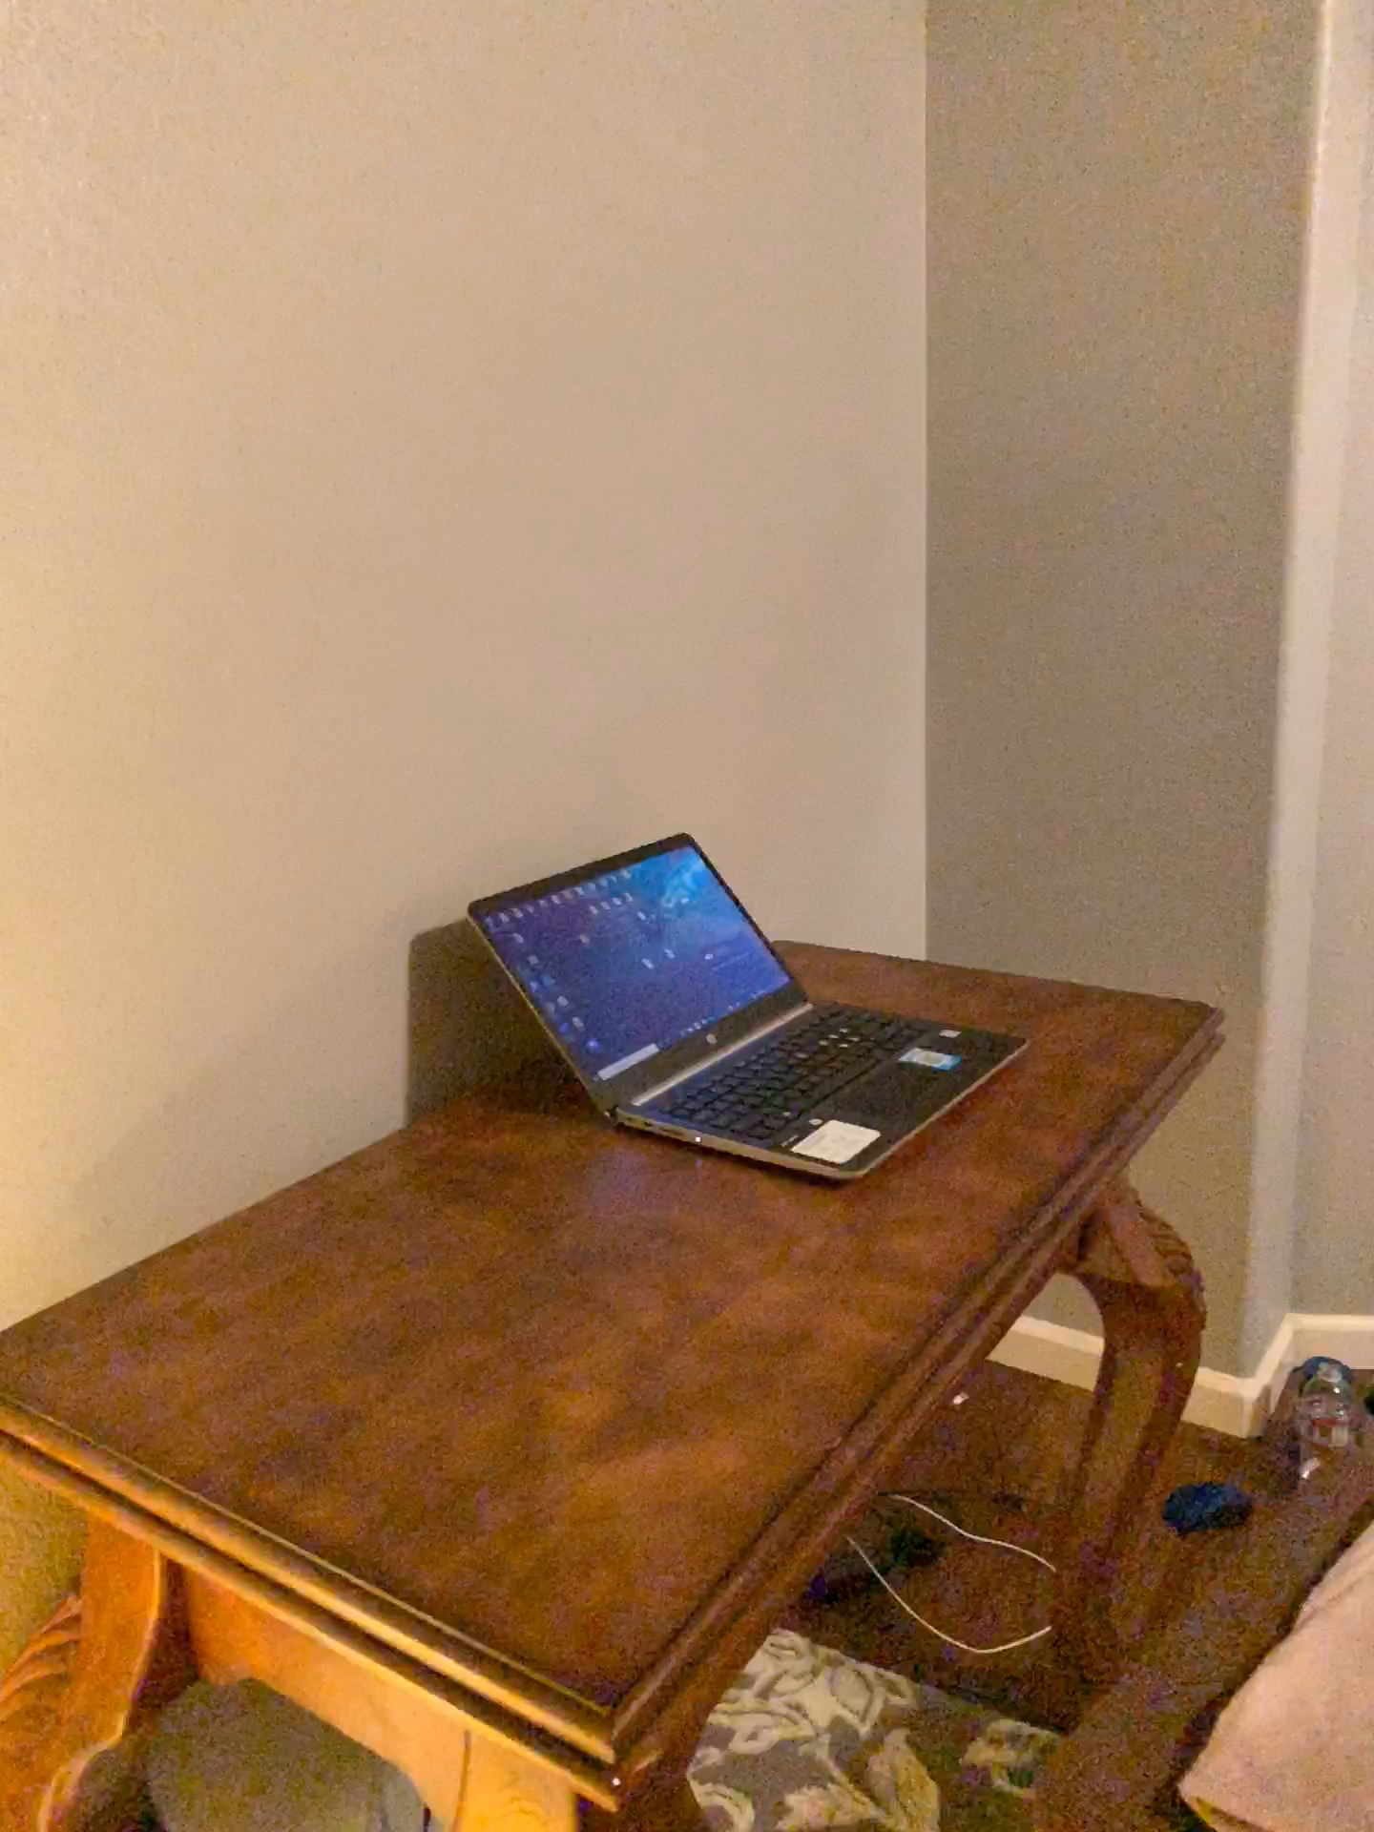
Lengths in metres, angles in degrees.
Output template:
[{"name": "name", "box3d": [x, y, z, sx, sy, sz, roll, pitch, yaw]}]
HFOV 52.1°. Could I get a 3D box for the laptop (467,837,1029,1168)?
[{"name": "laptop", "box3d": [0.060, 0.050, 1.226, 0.368, 0.152, 0.318, 8, 18, 34]}]
